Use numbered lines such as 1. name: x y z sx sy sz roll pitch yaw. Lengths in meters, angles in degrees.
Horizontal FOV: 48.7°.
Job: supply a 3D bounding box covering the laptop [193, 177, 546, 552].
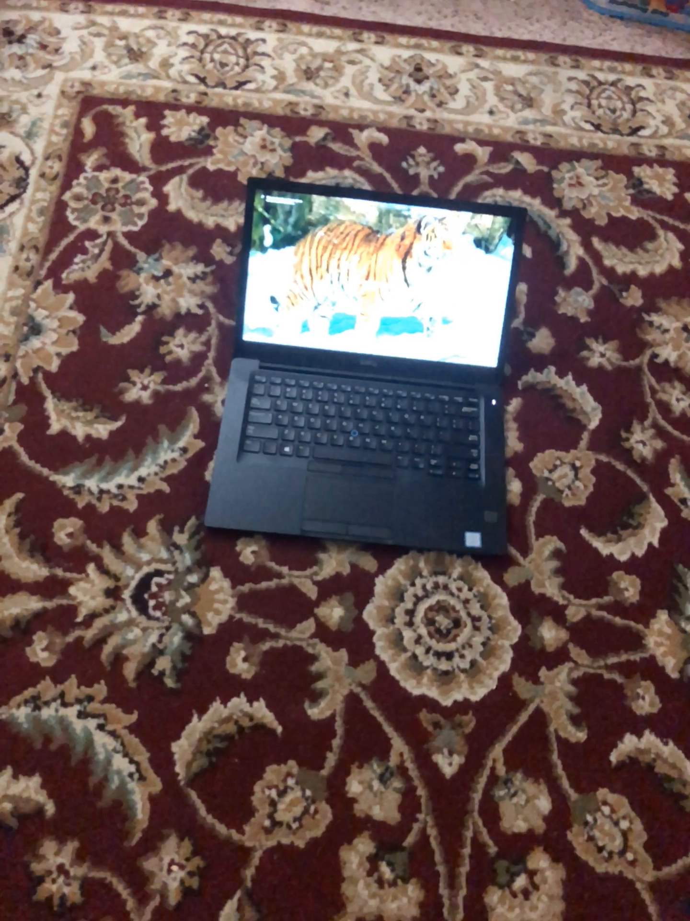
1. laptop: 0.033 -0.114 0.850 0.328 0.124 0.384 5 62 -1
